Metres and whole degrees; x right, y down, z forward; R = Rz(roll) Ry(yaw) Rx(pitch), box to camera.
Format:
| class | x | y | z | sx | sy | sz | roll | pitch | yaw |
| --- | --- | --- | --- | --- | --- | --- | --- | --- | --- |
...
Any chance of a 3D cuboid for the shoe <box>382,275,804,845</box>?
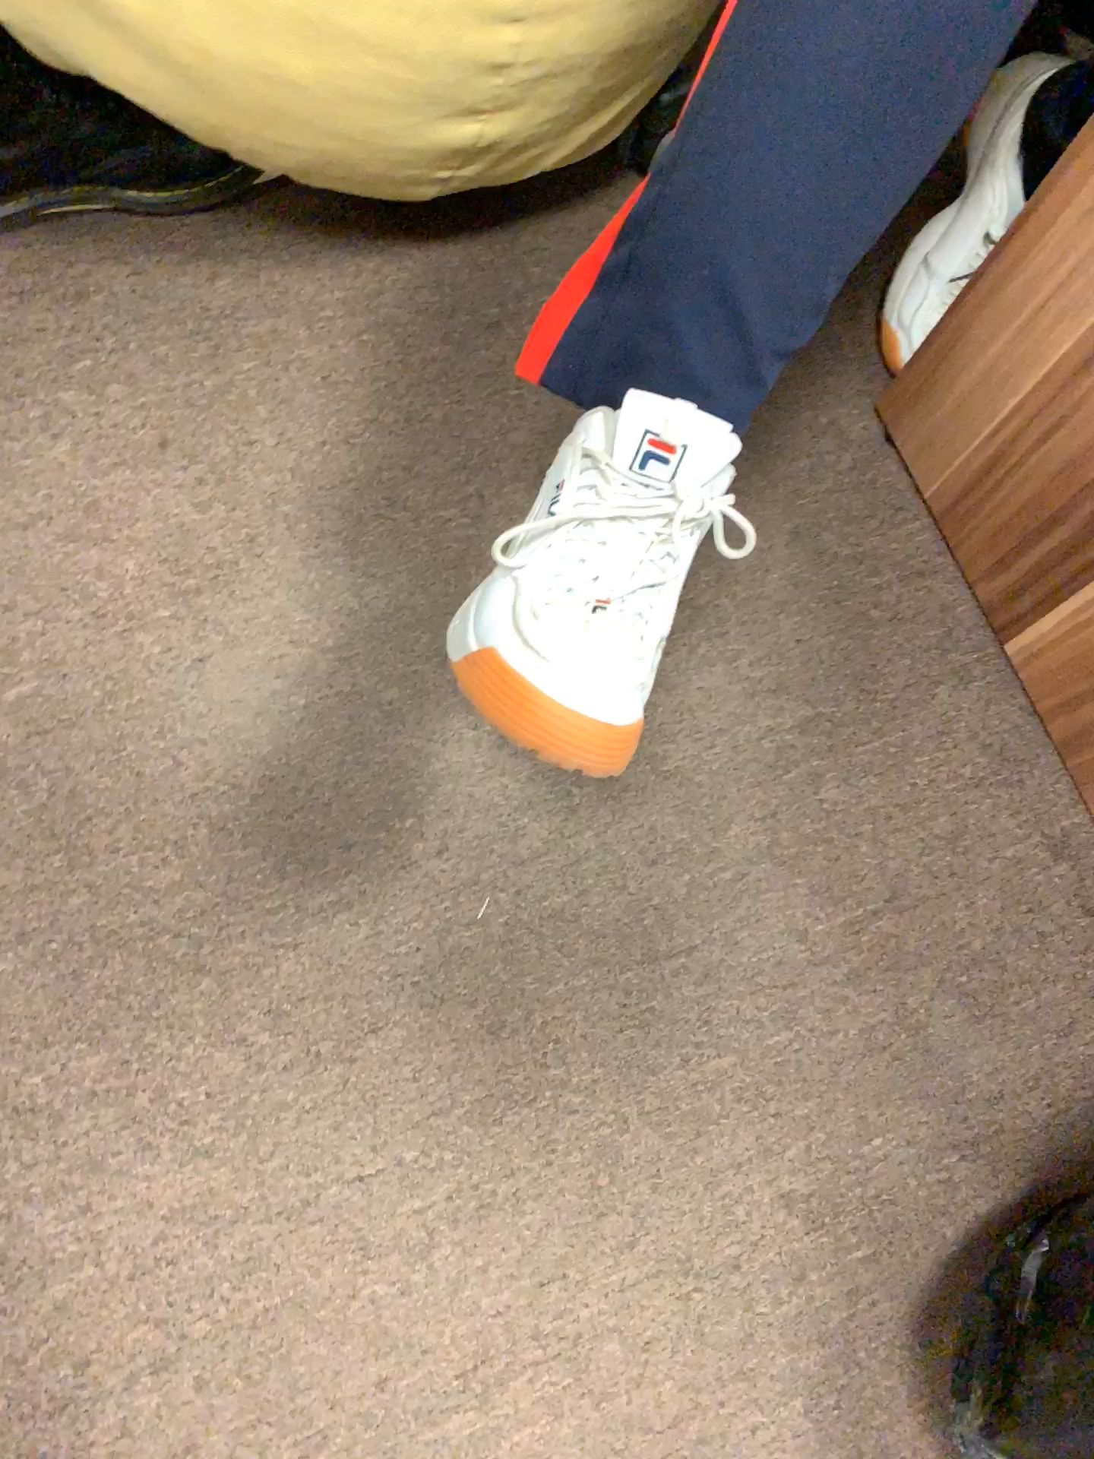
| class | x | y | z | sx | sy | sz | roll | pitch | yaw |
| --- | --- | --- | --- | --- | --- | --- | --- | --- | --- |
| shoe | 0.032 | -0.090 | 0.551 | 0.130 | 0.130 | 0.230 | 25 | 44 | -9 |
